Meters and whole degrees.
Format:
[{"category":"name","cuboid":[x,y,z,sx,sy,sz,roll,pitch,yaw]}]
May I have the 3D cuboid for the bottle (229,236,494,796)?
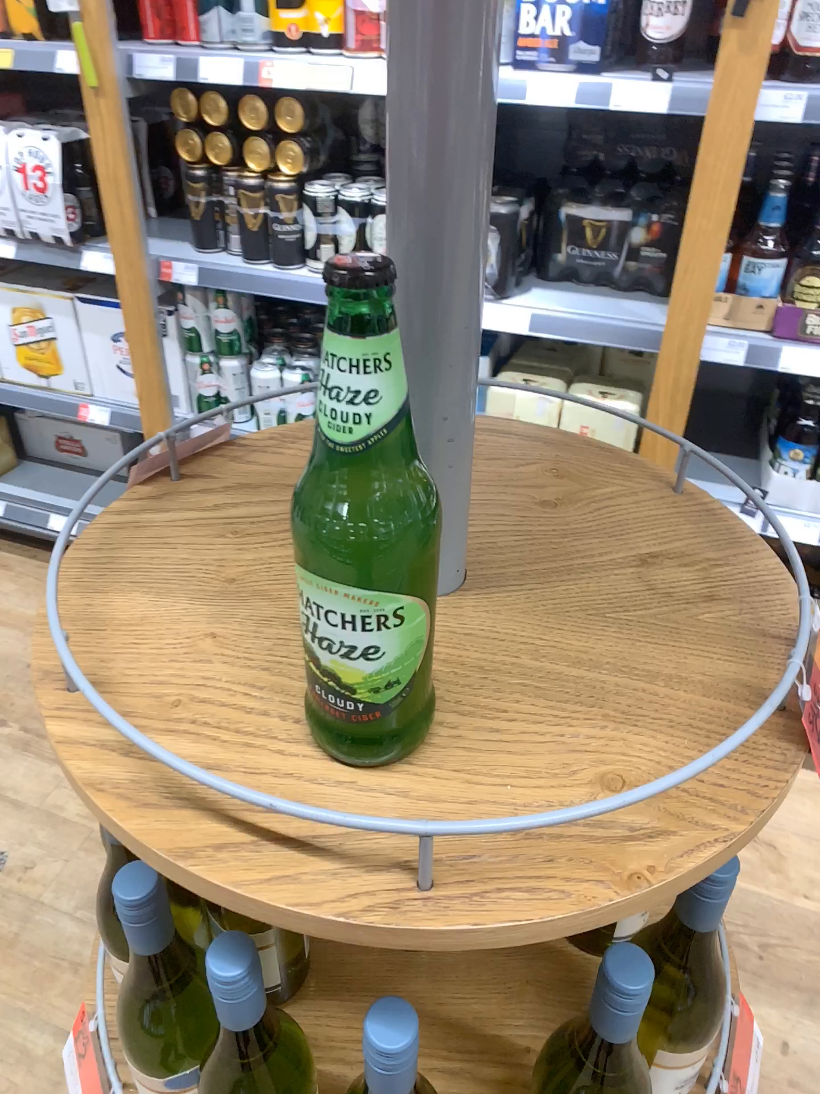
[{"category":"bottle","cuboid":[-0.018,-0.005,0.387,0.069,0.240,0.079,20,39,24]}]
